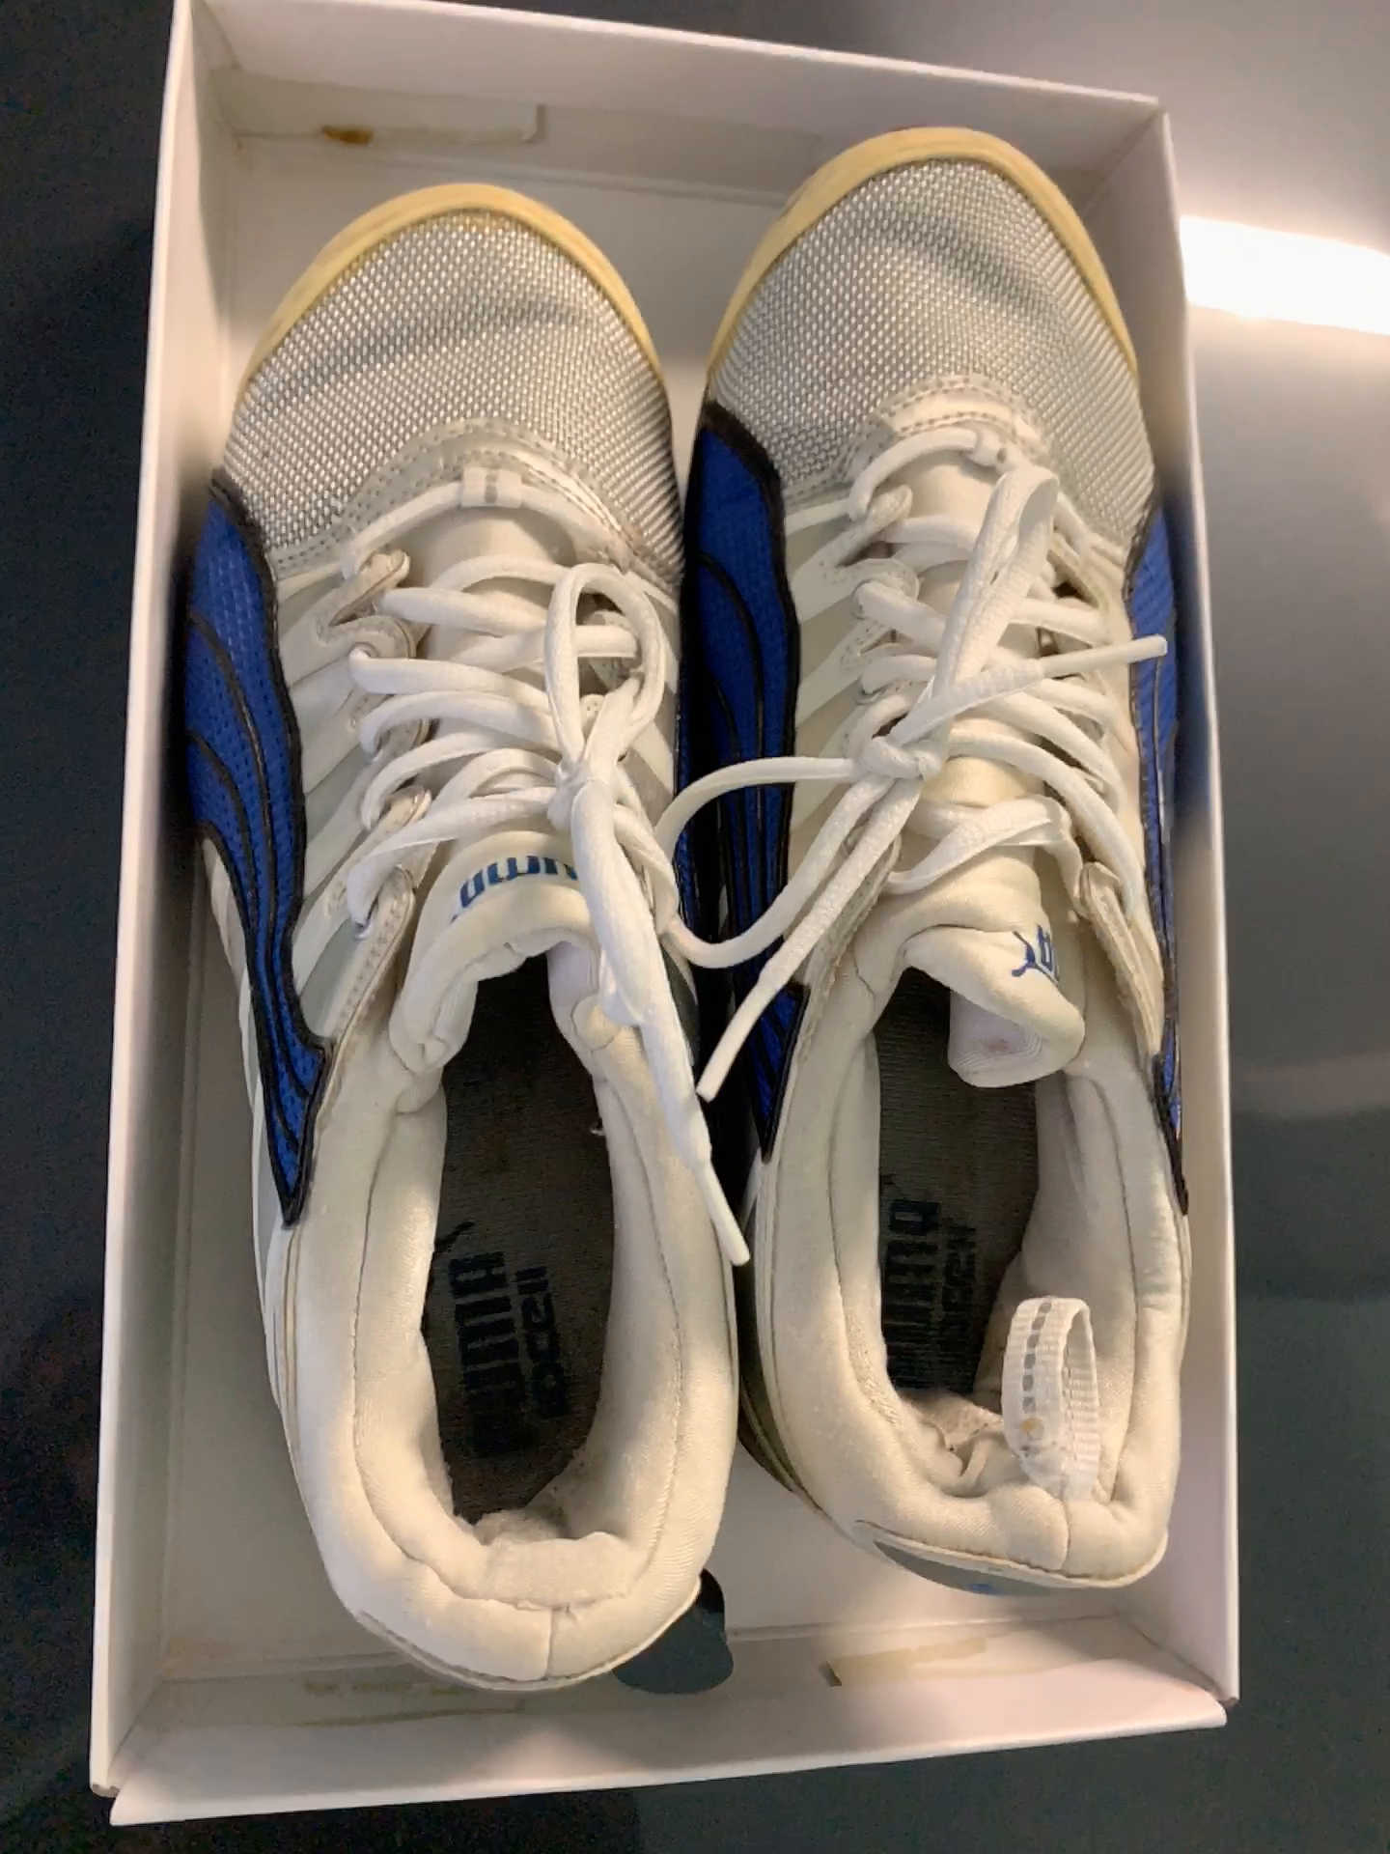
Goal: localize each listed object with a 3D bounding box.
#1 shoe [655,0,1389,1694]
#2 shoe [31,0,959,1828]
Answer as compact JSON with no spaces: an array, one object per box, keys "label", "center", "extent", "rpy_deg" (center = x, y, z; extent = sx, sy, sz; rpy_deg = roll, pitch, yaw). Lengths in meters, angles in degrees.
[{"label":"shoe","center":[0.053,-0.028,0.266],"extent":[0.110,0.090,0.281],"rpy_deg":[2,74,-9]},{"label":"shoe","center":[-0.037,-0.024,0.252],"extent":[0.110,0.090,0.281],"rpy_deg":[-1,75,-11]}]
